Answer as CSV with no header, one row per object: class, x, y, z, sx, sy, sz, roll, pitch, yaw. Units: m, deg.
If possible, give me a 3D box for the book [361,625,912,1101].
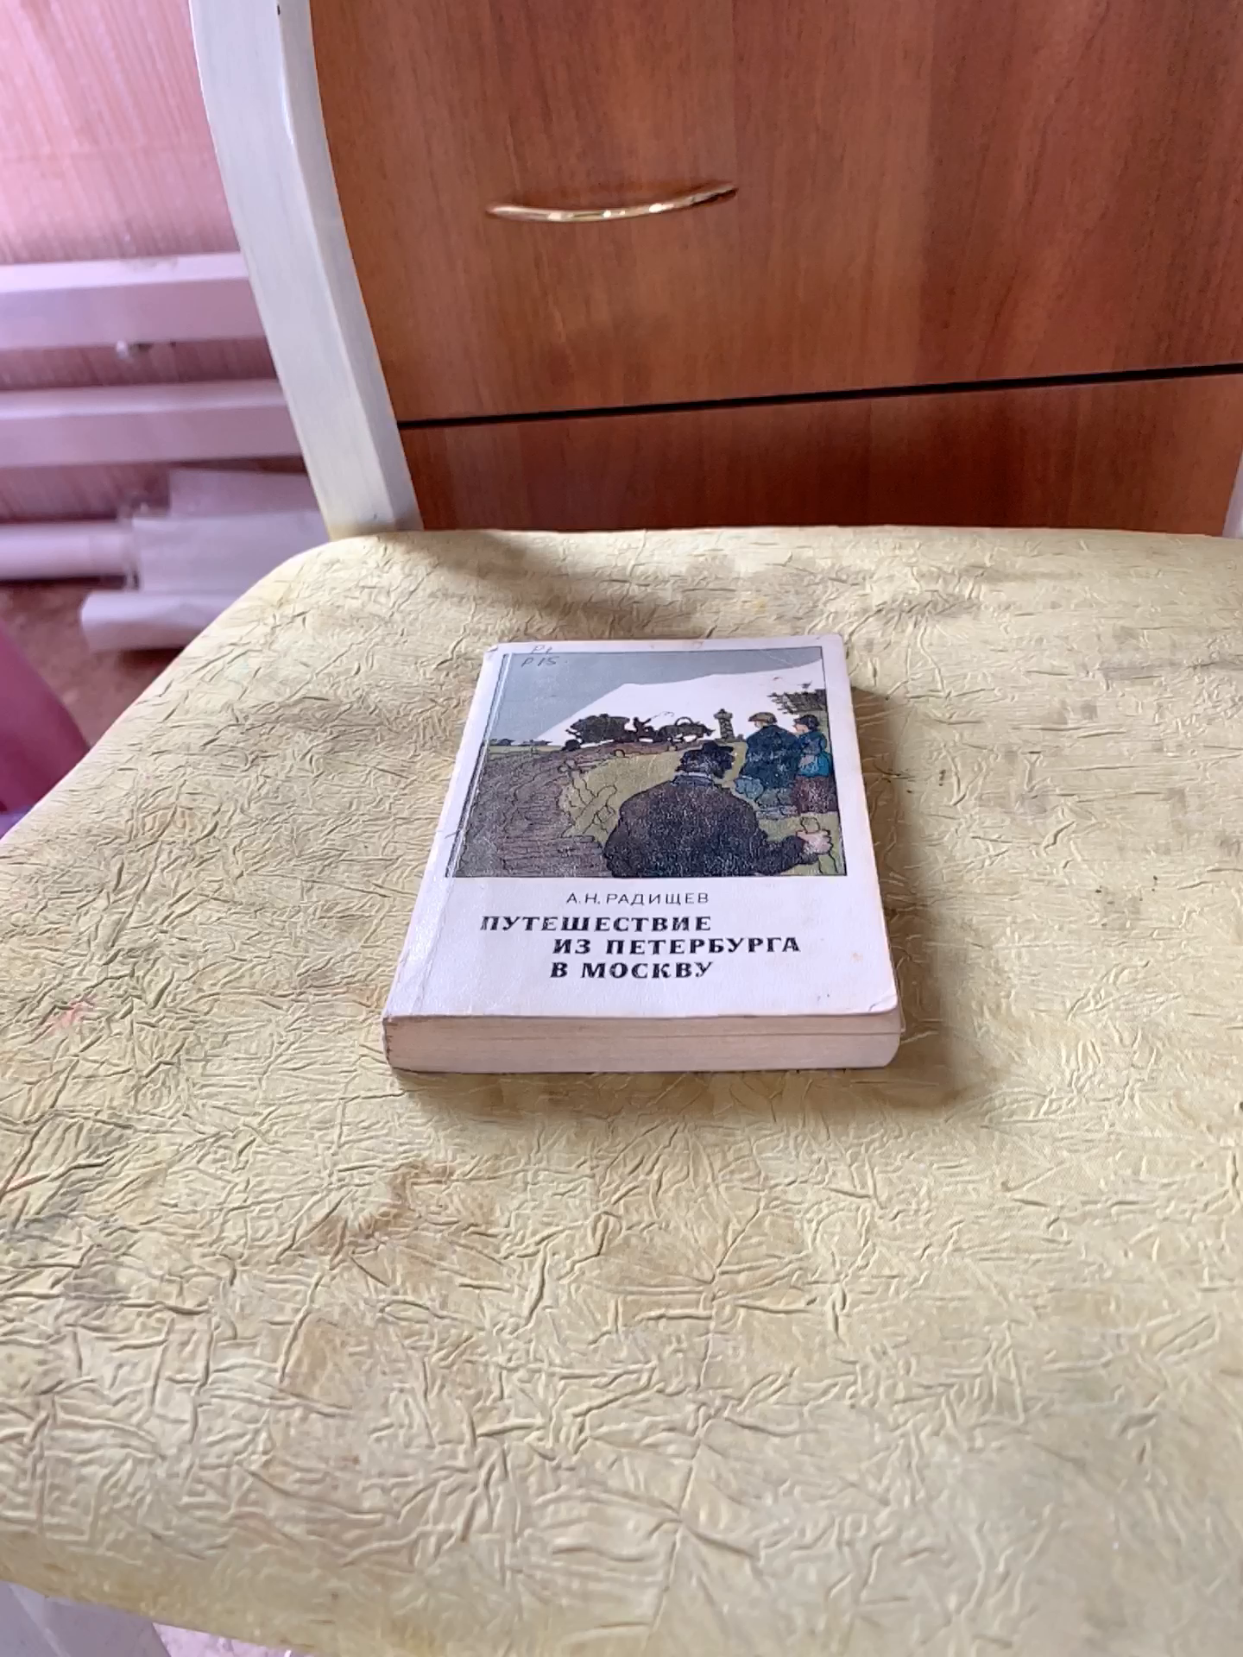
book,0.008,-0.001,0.328,0.111,0.020,0.163,-1,38,5
